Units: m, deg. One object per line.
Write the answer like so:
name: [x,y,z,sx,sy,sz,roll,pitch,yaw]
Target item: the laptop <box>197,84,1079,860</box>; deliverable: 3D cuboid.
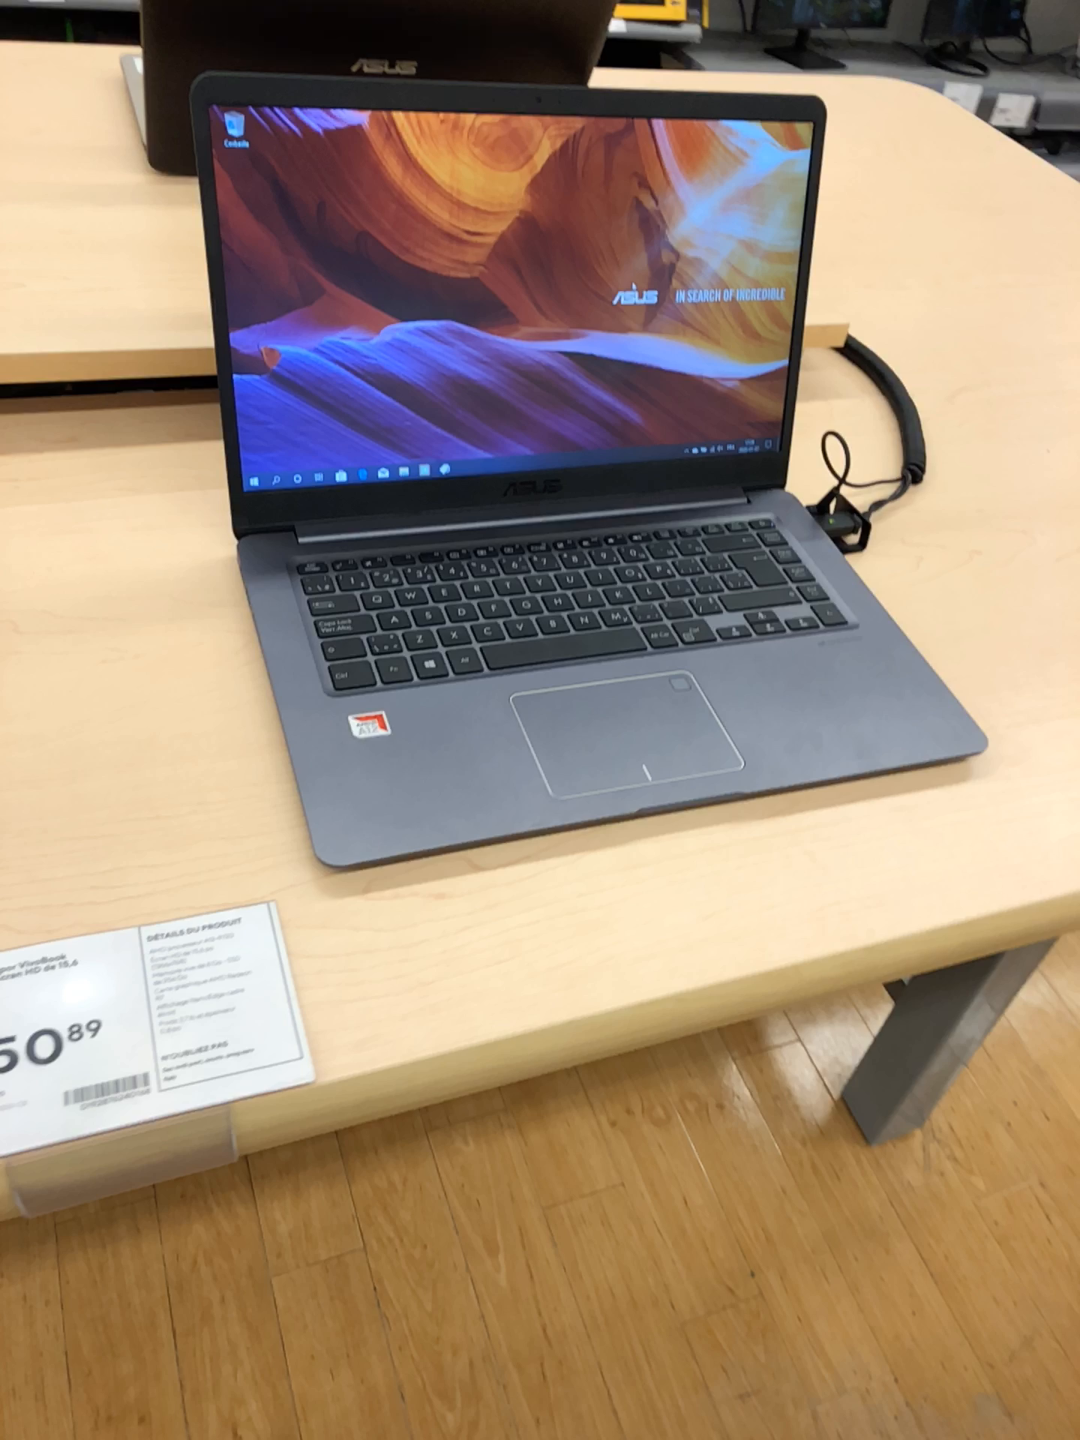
laptop: [0.036,-0.150,0.620,0.362,0.223,0.318,-8,47,-19]
